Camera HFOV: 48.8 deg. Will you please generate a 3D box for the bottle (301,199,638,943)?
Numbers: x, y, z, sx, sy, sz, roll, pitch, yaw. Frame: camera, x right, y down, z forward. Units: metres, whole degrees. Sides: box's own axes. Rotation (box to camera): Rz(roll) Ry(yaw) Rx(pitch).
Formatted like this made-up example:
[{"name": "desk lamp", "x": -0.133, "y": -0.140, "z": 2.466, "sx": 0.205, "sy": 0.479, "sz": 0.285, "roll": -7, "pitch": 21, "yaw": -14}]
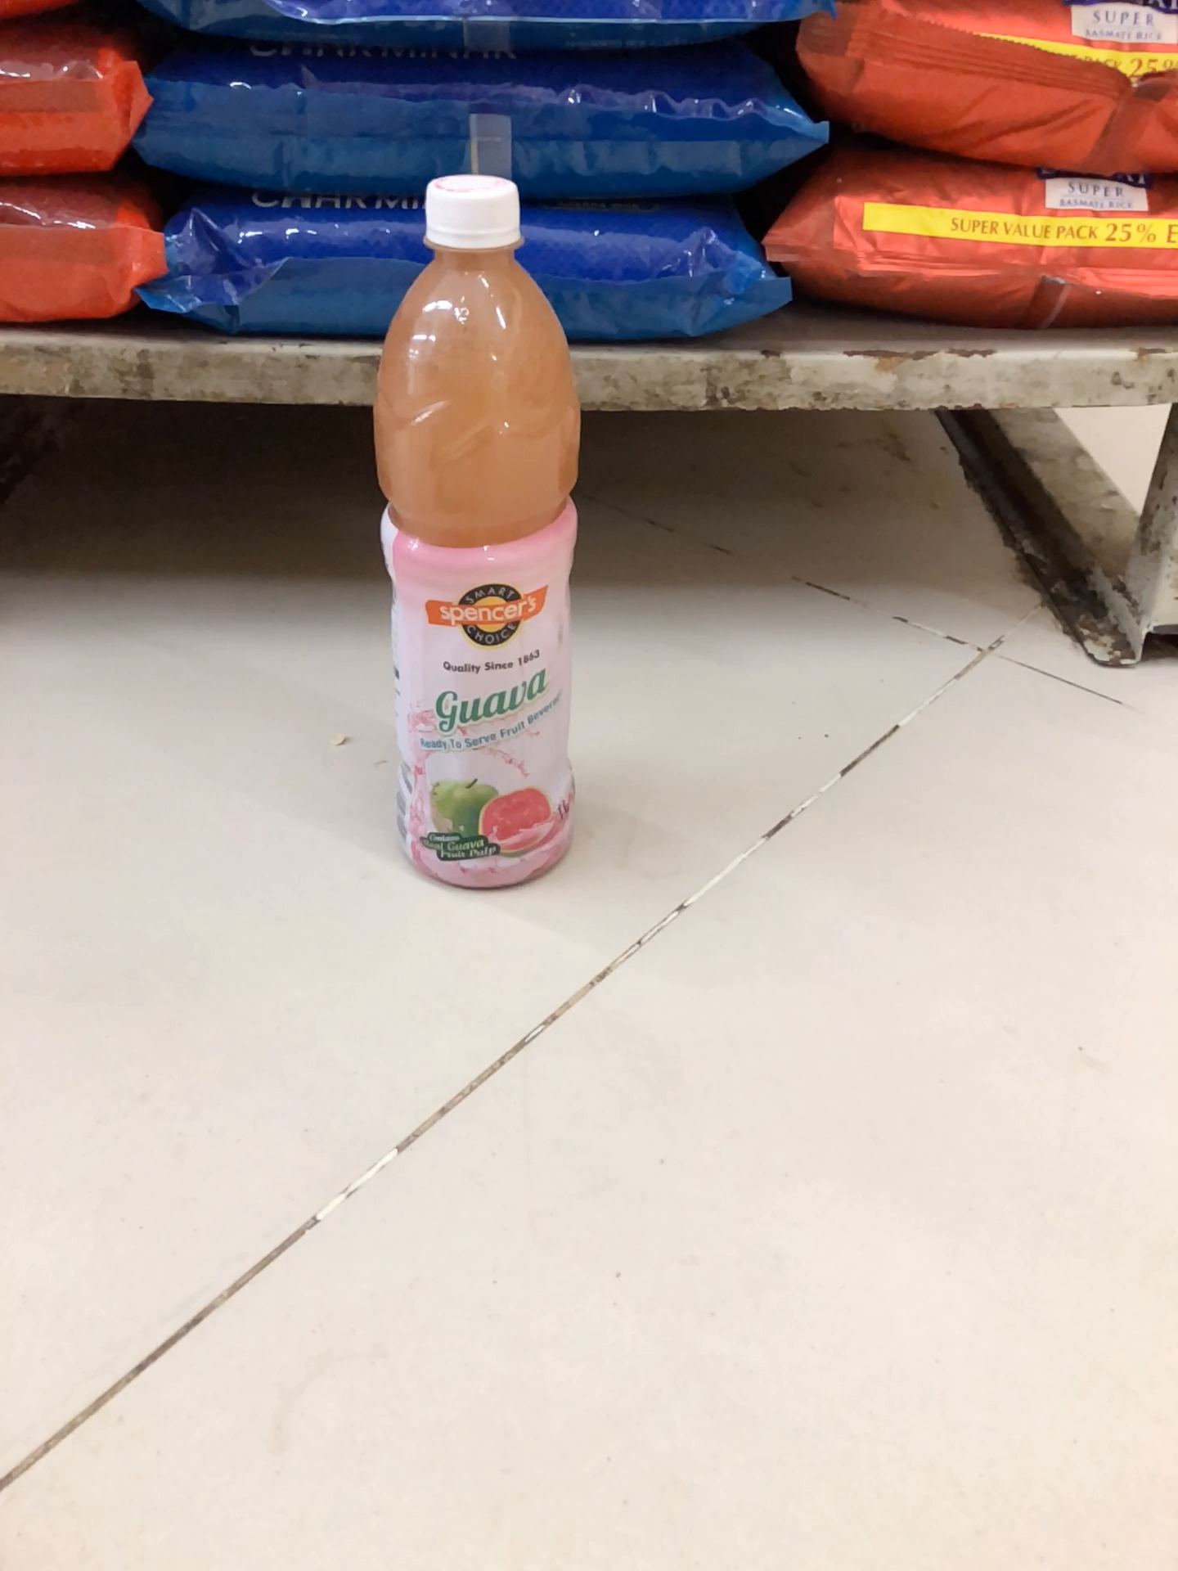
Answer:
[{"name": "bottle", "x": -0.045, "y": -0.073, "z": 0.496, "sx": 0.090, "sy": 0.258, "sz": 0.090, "roll": 1, "pitch": 37, "yaw": -1}]
